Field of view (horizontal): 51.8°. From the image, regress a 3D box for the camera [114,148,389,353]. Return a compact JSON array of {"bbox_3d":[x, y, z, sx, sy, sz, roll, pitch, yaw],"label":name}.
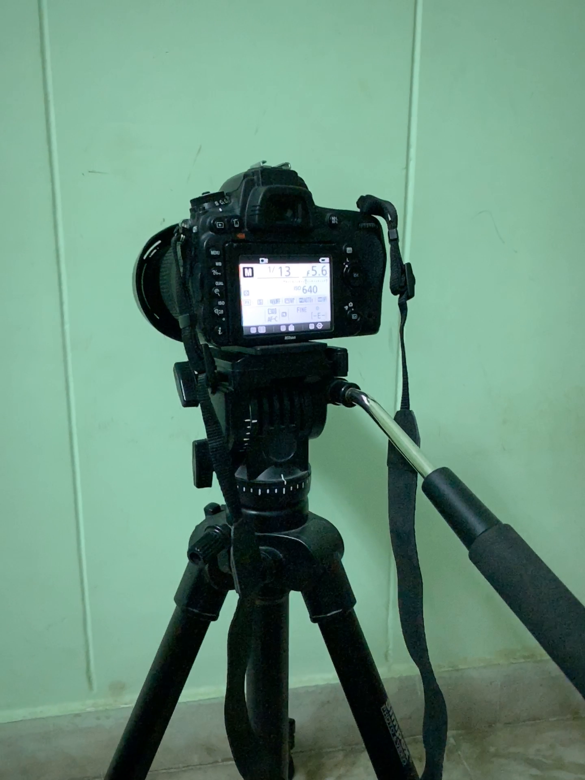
[{"bbox_3d":[-0.041,-0.104,0.462,0.140,0.117,0.182,-7,14,-29],"label":"camera"}]
